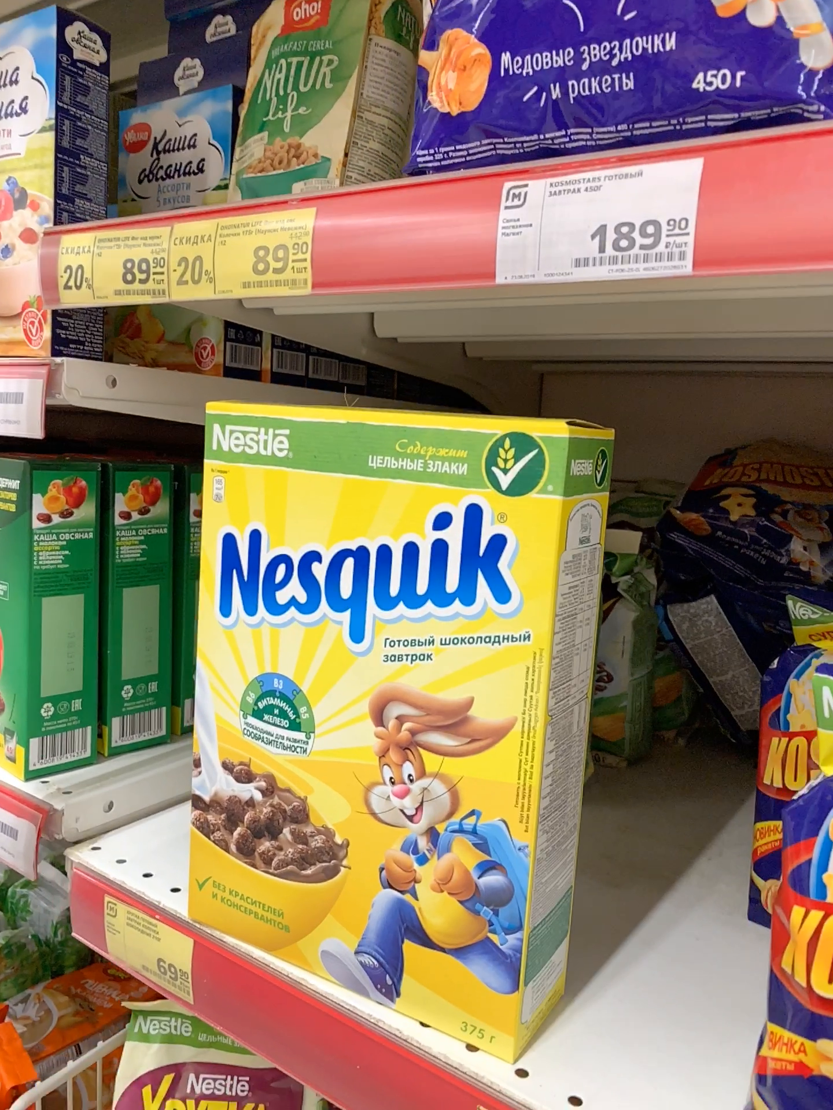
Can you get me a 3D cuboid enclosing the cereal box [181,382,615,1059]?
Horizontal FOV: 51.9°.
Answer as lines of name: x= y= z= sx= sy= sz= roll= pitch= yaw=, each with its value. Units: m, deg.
cereal box: x=-0.019 y=0.059 z=0.407 sx=0.190 sy=0.269 sz=0.060 roll=7 pitch=8 yaw=30
